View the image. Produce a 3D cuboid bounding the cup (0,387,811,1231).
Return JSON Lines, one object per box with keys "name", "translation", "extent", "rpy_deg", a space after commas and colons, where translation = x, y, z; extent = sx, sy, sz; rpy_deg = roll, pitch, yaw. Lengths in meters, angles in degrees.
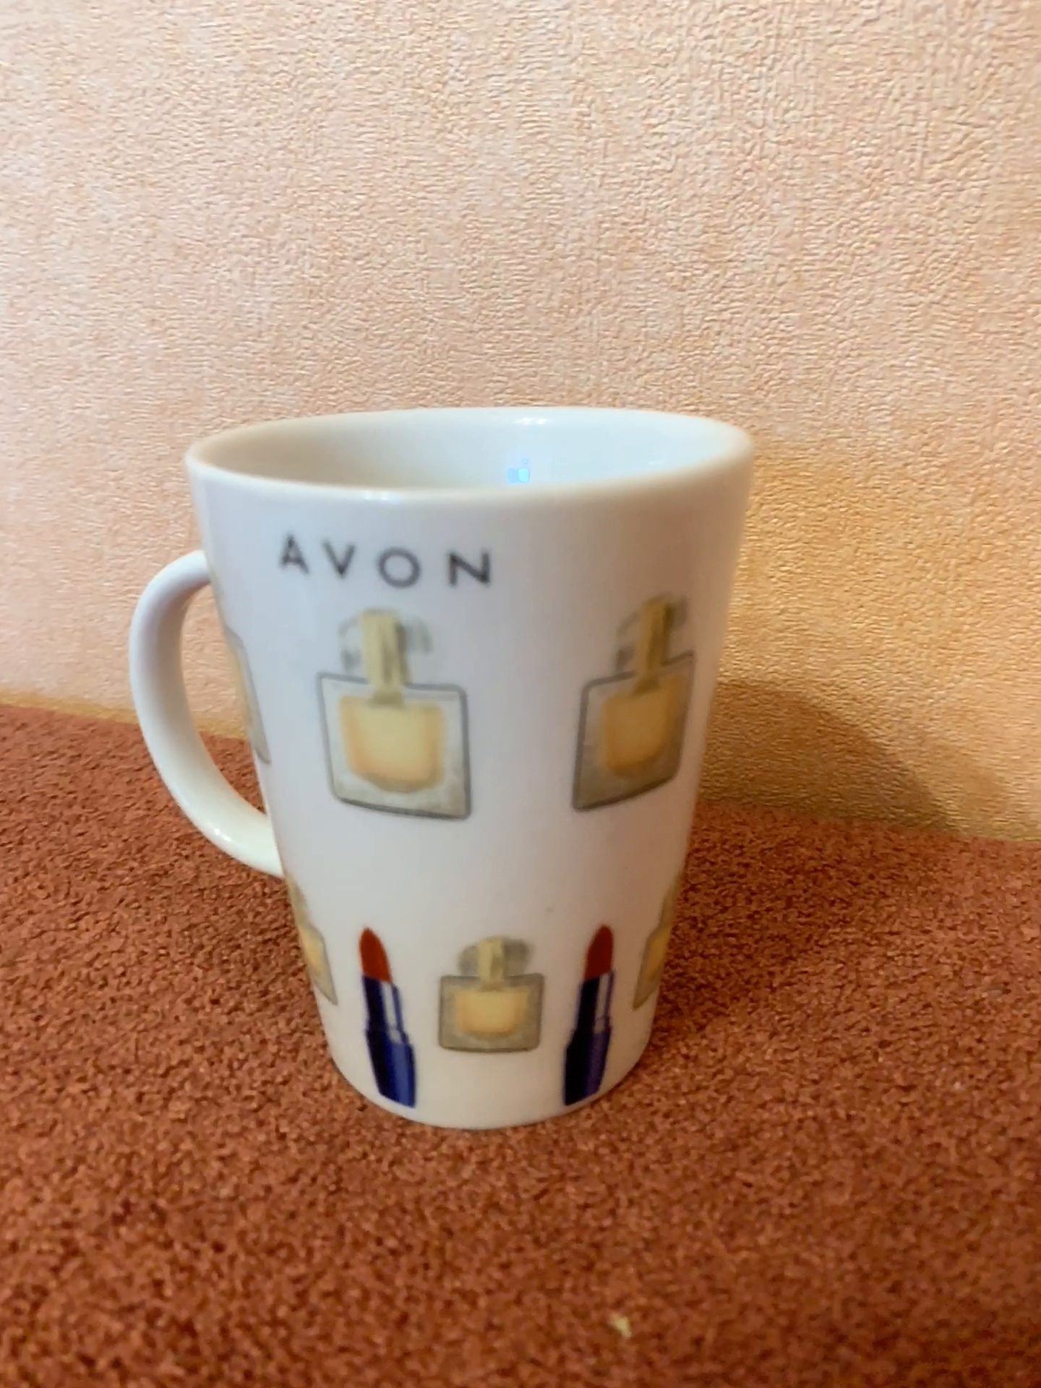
{"name": "cup", "translation": [-0.017, 0.006, 0.173], "extent": [0.103, 0.093, 0.071], "rpy_deg": [10, 25, 24]}
